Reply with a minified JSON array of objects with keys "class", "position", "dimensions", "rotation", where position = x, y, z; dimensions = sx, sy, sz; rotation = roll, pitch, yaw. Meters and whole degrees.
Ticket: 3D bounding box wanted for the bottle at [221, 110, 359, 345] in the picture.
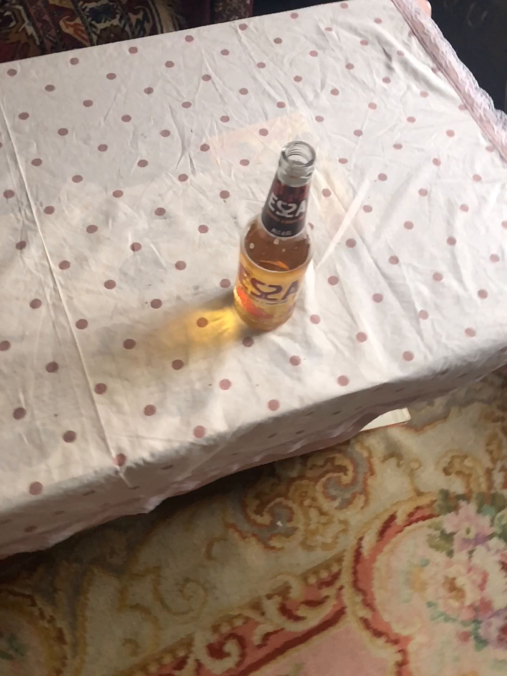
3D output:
[{"class":"bottle","position":[0.023,-0.082,0.493],"dimensions":[0.080,0.209,0.080],"rotation":[2,65,-4]}]
